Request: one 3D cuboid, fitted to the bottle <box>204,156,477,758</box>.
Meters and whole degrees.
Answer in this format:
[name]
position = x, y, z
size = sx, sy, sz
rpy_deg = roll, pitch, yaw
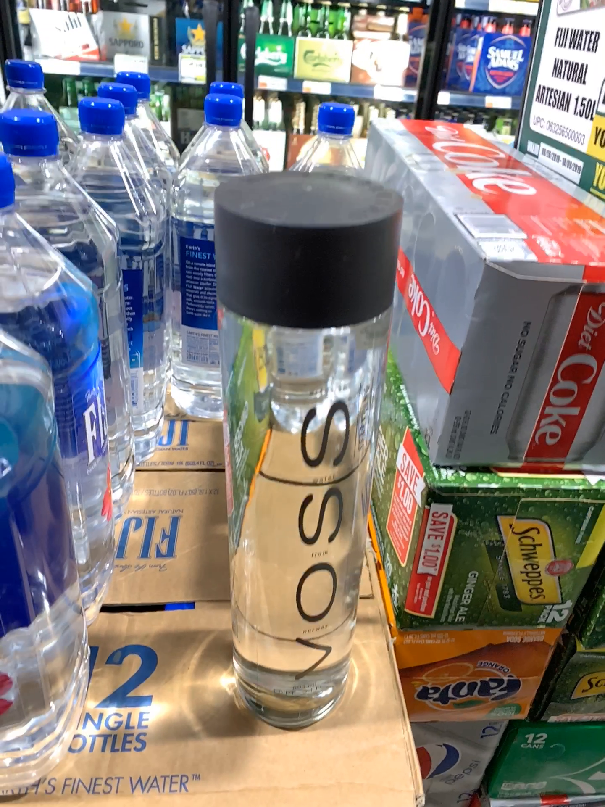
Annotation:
[bottle]
position = -0.002, 0.046, 0.292
size = 0.080, 0.288, 0.080
rpy_deg = 3, 33, -2
